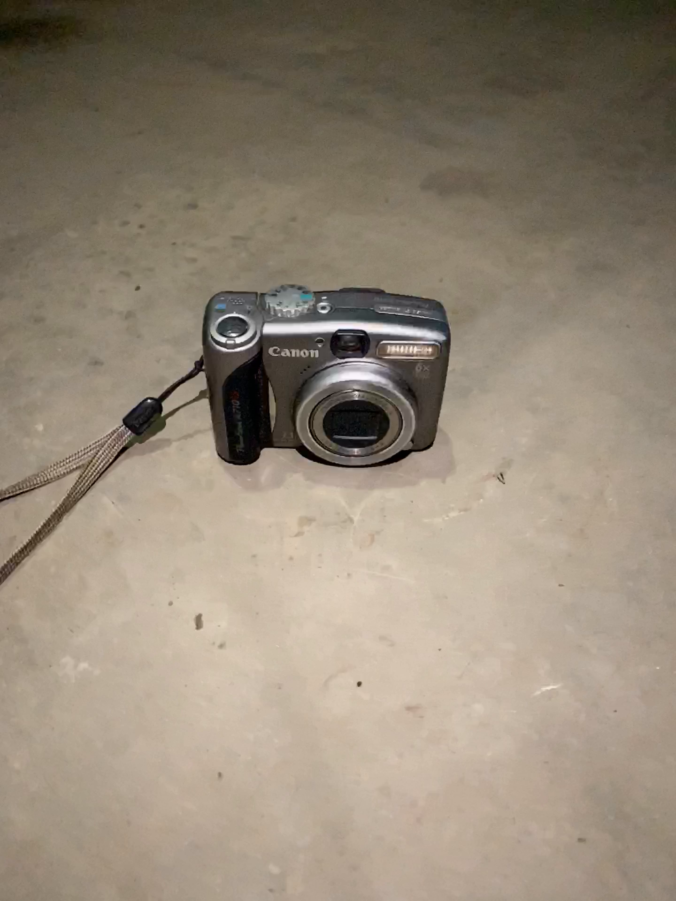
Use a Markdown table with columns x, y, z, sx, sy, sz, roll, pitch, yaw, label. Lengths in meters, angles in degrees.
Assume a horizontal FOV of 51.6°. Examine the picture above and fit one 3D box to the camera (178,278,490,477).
| x | y | z | sx | sy | sz | roll | pitch | yaw | label |
| --- | --- | --- | --- | --- | --- | --- | --- | --- | --- |
| -0.003 | -0.029 | 0.280 | 0.108 | 0.060 | 0.048 | 1 | 43 | -3 | camera |
